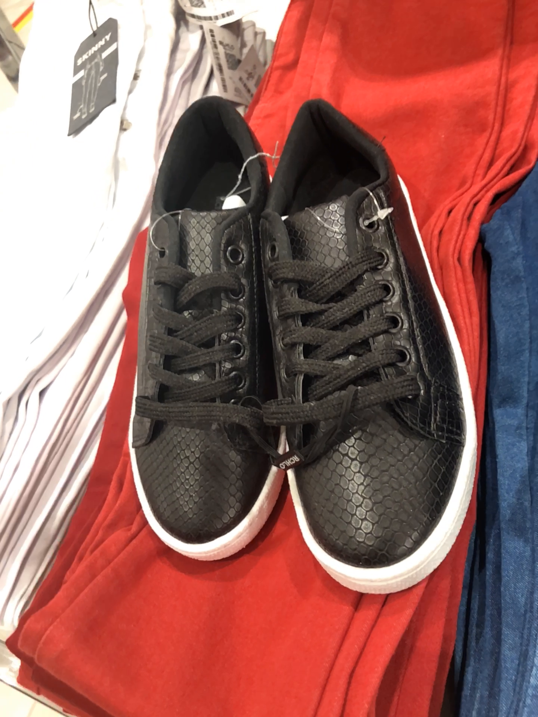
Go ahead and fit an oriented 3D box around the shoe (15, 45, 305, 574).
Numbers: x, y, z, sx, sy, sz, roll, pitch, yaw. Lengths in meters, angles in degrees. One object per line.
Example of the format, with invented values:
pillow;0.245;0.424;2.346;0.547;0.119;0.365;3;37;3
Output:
shoe;-0.037;-0.024;0.314;0.090;0.100;0.251;-2;67;13

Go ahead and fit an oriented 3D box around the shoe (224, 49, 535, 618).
shoe;0.045;-0.023;0.286;0.090;0.099;0.251;-9;53;14
